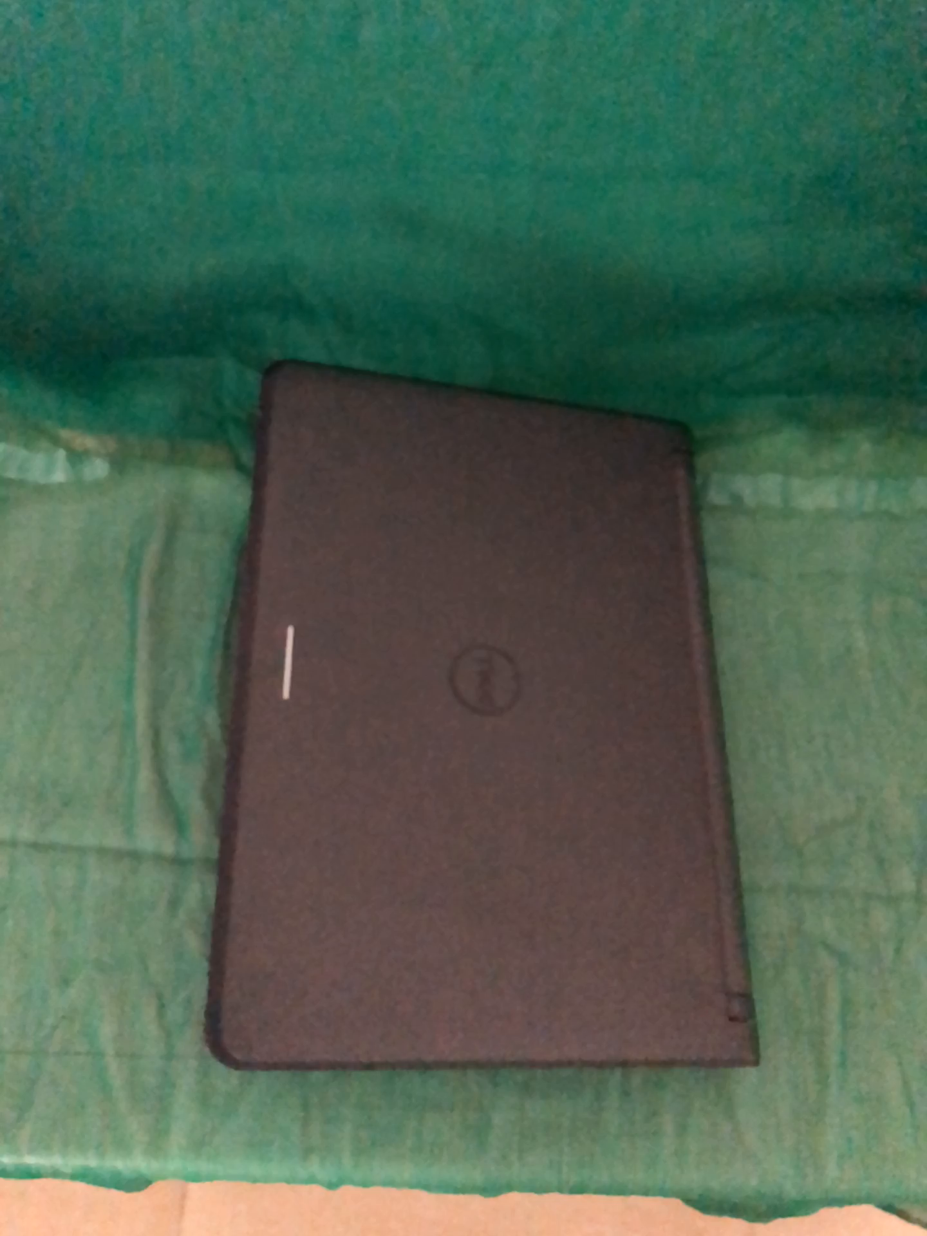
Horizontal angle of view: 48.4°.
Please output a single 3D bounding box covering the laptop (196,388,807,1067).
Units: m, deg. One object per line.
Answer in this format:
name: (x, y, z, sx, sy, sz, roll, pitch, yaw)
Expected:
laptop: (0.012, 0.039, 0.479, 0.229, 0.064, 0.306, 0, 66, -2)
